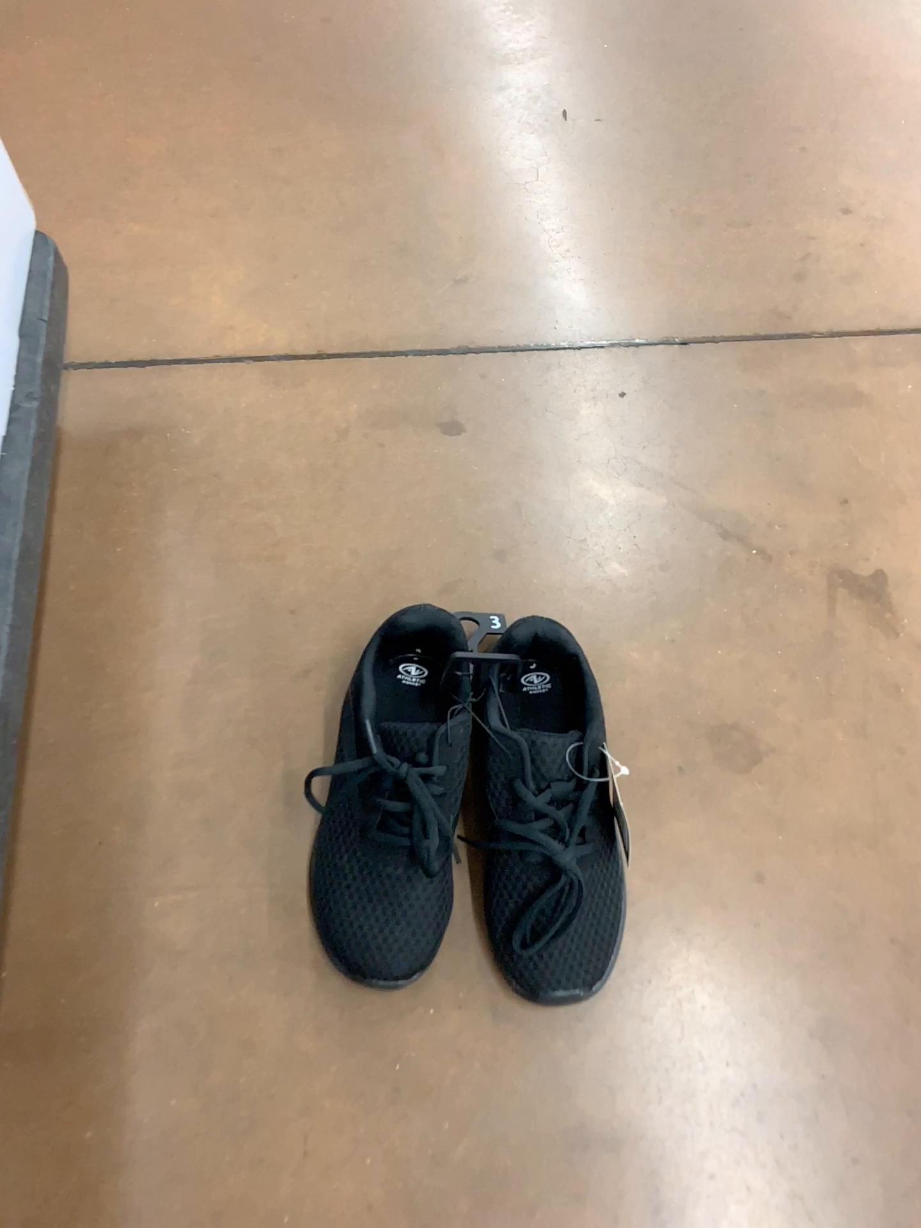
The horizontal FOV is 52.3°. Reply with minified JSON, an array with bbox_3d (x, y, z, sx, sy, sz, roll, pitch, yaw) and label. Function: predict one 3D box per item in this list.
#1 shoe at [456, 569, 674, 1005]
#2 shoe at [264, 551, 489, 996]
[{"bbox_3d":[0.051,0.096,0.541,0.090,0.080,0.230,-3,65,-3],"label":"shoe"},{"bbox_3d":[-0.040,0.088,0.536,0.090,0.080,0.230,5,65,1],"label":"shoe"}]
